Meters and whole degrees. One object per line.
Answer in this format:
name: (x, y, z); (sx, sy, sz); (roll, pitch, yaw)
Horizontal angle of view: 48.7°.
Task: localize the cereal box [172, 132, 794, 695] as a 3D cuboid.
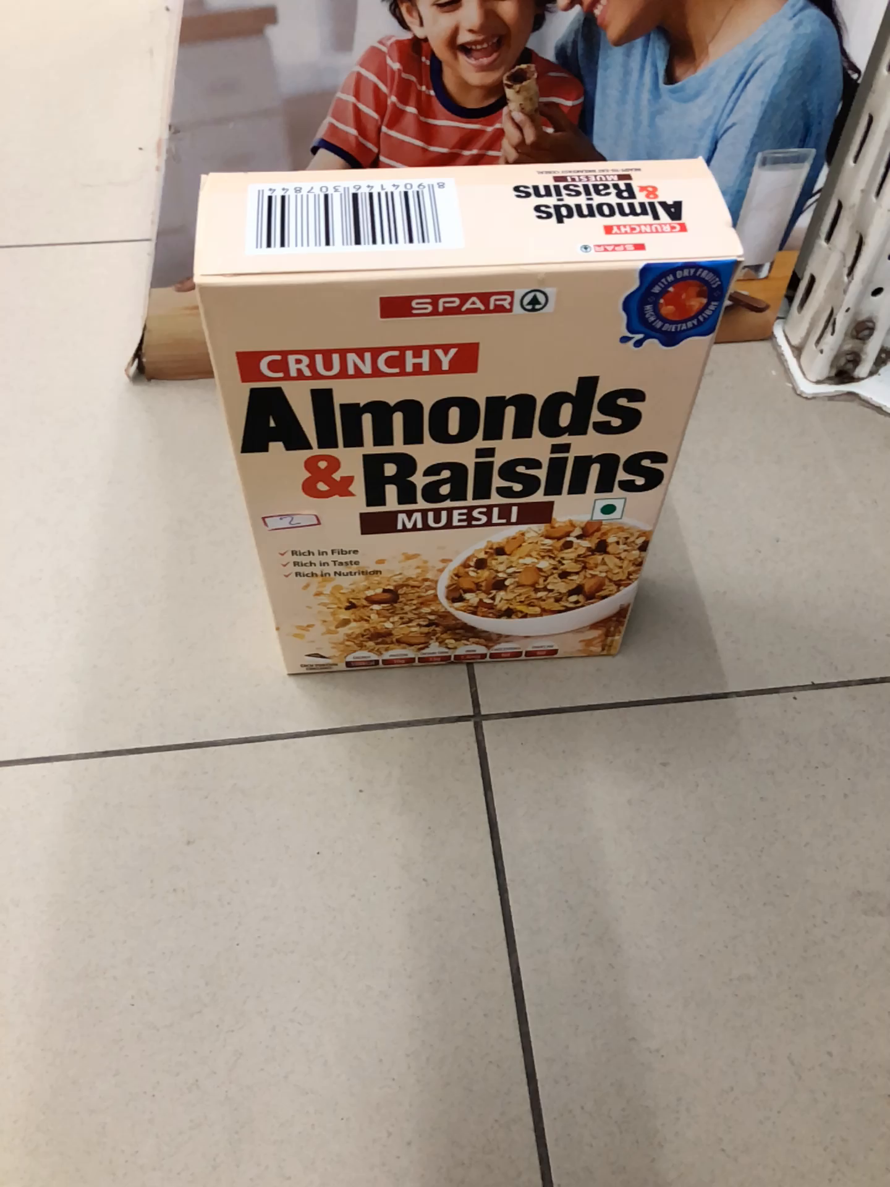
cereal box: (0.009, -0.052, 0.397); (0.180, 0.239, 0.060); (-4, 54, -4)
